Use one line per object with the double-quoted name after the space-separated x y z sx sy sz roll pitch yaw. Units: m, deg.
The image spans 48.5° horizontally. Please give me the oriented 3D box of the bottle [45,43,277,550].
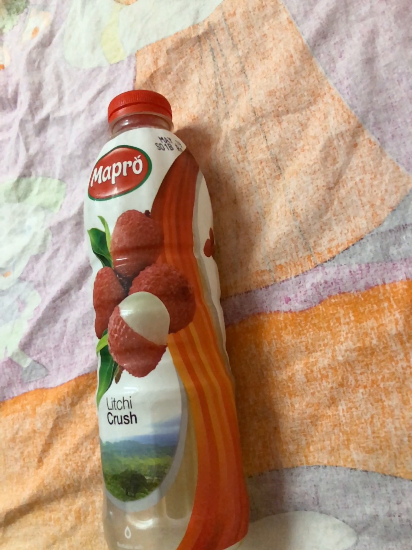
-0.029 0.021 0.257 0.080 0.070 0.260 -12 78 31 "bottle"
